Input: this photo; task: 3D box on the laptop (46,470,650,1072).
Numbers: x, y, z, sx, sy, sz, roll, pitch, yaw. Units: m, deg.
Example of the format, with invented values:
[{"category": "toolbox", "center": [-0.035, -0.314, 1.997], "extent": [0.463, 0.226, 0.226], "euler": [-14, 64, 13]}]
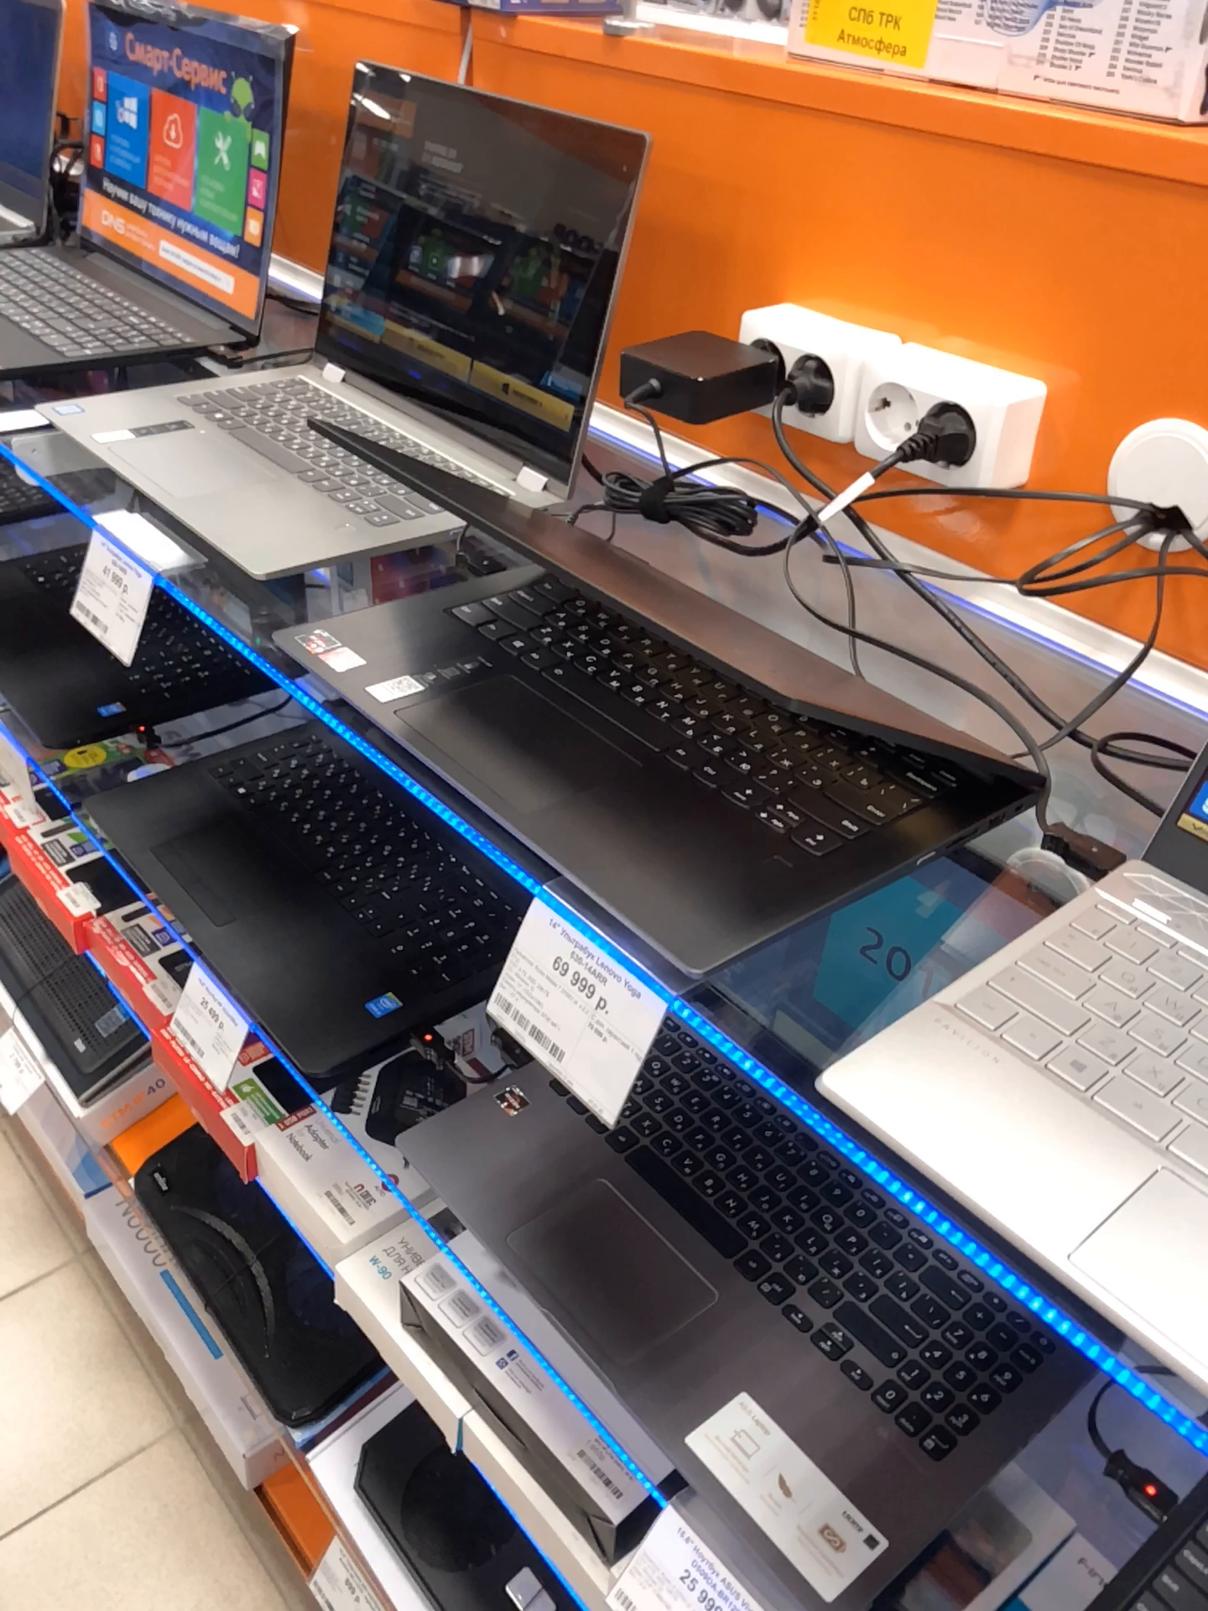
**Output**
[{"category": "laptop", "center": [-0.194, -0.054, 0.992], "extent": [0.266, 0.223, 0.374], "euler": [-23, 44, -34]}]

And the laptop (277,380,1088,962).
[{"category": "laptop", "center": [0.020, -0.094, 0.641], "extent": [0.214, 0.102, 0.325], "euler": [-23, 42, -33]}]

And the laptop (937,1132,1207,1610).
[{"category": "laptop", "center": [0.357, 0.347, 0.450], "extent": [0.253, 0.229, 0.345], "euler": [-20, 40, -32]}]

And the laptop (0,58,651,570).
[{"category": "laptop", "center": [-0.189, -0.346, 0.883], "extent": [0.267, 0.219, 0.312], "euler": [-23, 44, -33]}]

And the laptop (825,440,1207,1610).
[{"category": "laptop", "center": [0.293, 0.036, 0.407], "extent": [0.318, 0.162, 0.283], "euler": [-23, 40, -31]}]

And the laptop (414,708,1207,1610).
[{"category": "laptop", "center": [0.102, 0.156, 0.724], "extent": [0.256, 0.236, 0.354], "euler": [-22, 41, -33]}]
